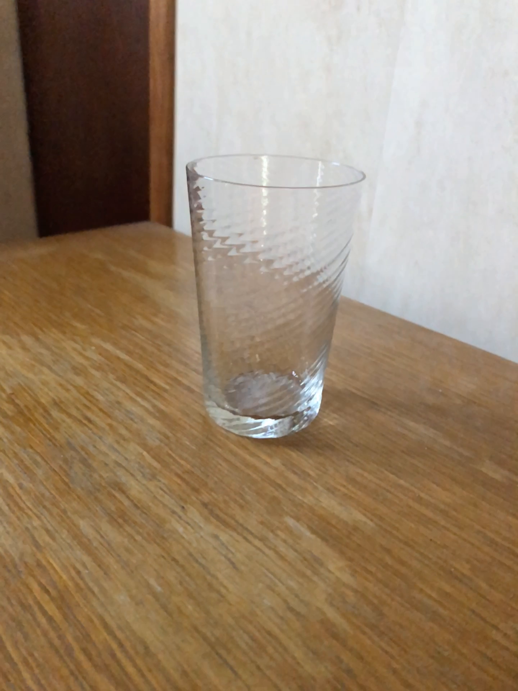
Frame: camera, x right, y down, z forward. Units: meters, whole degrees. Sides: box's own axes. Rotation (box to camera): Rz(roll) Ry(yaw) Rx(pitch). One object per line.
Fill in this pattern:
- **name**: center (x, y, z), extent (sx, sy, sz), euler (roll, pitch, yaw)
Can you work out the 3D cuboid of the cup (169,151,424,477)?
- **cup**: center (0.008, -0.019, 0.258), extent (0.080, 0.119, 0.070), euler (-7, 28, -22)
